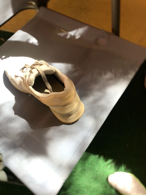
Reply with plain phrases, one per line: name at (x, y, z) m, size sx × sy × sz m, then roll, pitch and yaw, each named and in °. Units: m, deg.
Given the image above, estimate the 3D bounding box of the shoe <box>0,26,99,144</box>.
shoe at (-0.090, -0.032, 0.413) m, size 0.287 × 0.104 × 0.125 m, roll 42°, pitch 74°, yaw 13°
